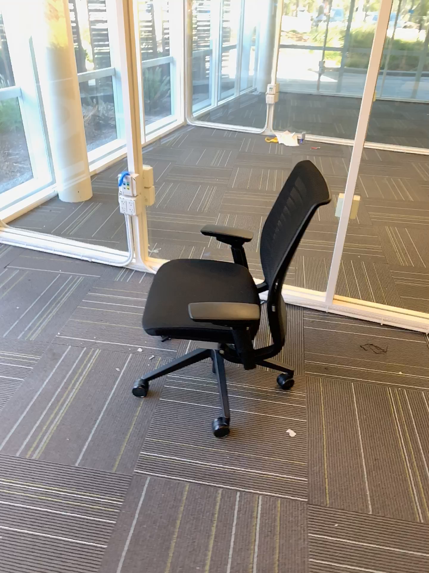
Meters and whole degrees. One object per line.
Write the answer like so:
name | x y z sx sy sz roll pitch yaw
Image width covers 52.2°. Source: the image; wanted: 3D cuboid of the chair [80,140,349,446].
chair | 0.013 -0.003 1.674 0.710 0.875 0.694 4 32 4
